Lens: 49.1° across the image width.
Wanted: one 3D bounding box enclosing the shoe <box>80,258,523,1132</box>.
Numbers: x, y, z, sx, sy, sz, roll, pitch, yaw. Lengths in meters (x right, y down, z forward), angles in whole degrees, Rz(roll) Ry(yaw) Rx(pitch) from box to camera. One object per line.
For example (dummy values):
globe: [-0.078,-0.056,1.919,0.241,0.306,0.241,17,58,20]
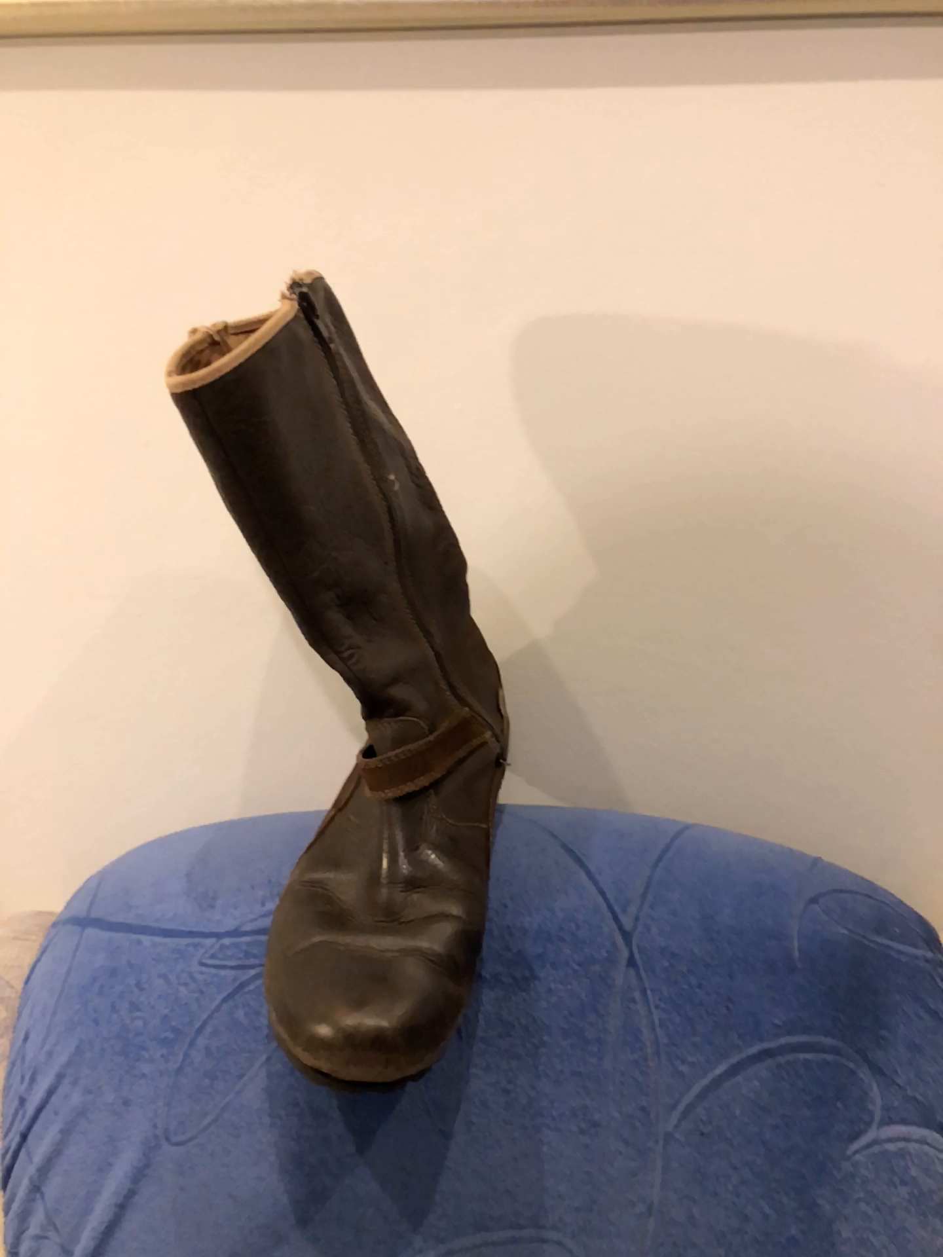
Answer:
shoe: [-0.036,0.015,0.463,0.110,0.278,0.272,0,34,4]
